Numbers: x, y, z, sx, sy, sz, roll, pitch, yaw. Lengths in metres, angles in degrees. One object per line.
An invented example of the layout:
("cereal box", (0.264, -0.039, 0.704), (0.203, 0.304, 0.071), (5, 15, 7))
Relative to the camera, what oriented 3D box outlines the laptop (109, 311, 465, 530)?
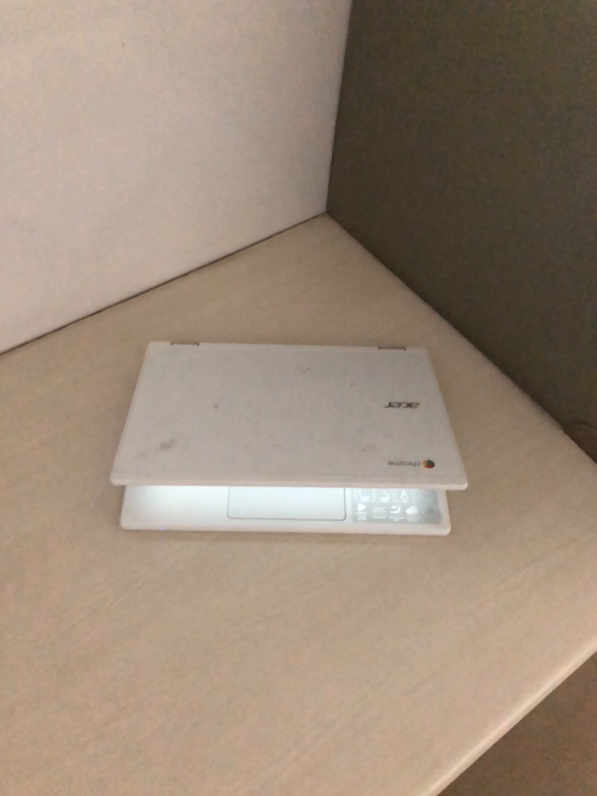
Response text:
("laptop", (-0.009, 0.016, 0.599), (0.282, 0.055, 0.192), (2, 54, -2))
